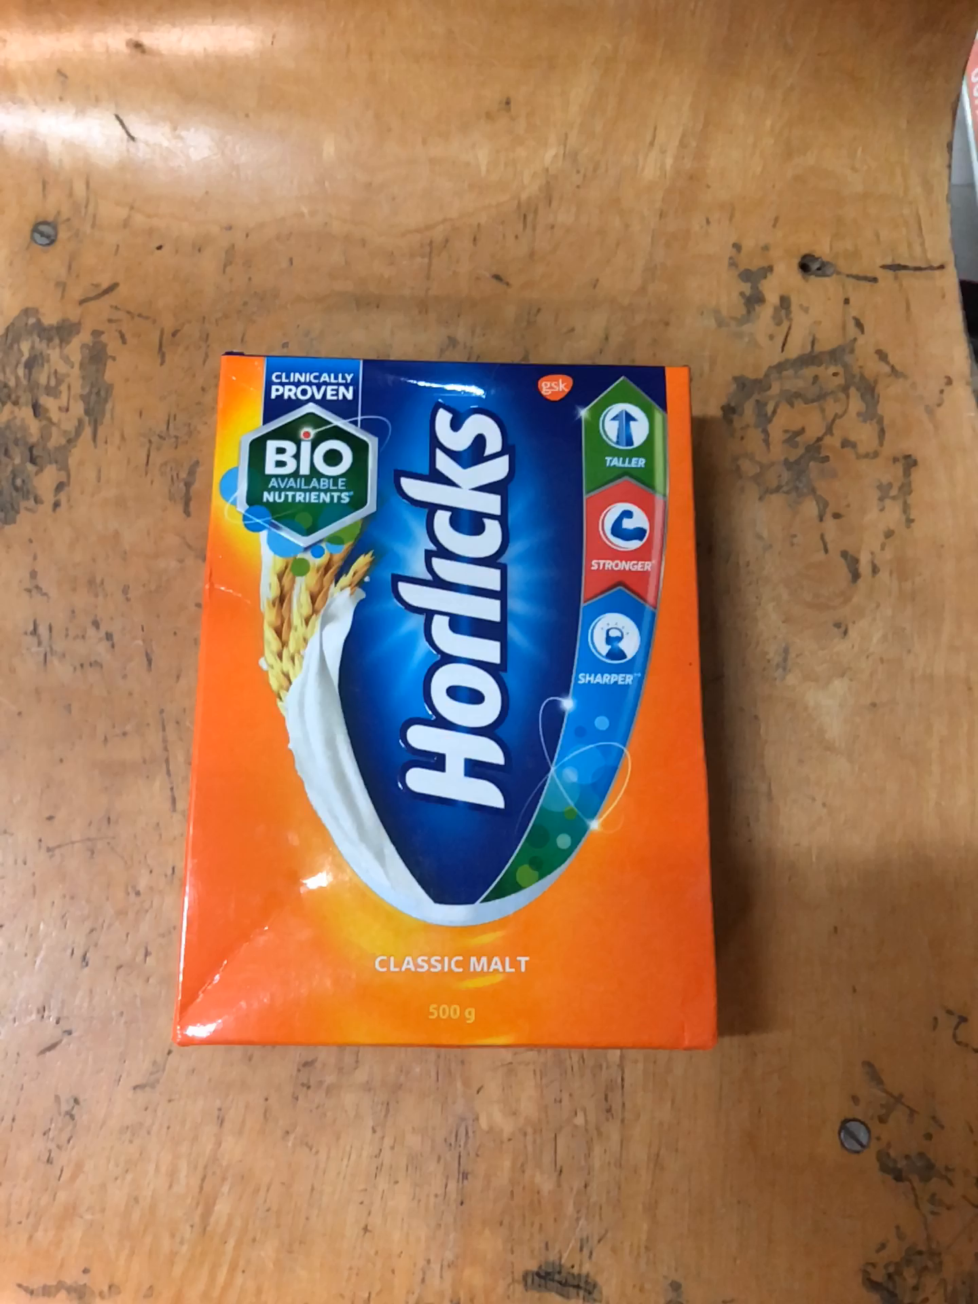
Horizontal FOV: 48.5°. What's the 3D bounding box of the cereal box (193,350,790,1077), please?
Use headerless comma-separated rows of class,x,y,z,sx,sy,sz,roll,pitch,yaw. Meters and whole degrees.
cereal box,0.001,0.018,0.310,0.140,0.080,0.180,1,79,-2
